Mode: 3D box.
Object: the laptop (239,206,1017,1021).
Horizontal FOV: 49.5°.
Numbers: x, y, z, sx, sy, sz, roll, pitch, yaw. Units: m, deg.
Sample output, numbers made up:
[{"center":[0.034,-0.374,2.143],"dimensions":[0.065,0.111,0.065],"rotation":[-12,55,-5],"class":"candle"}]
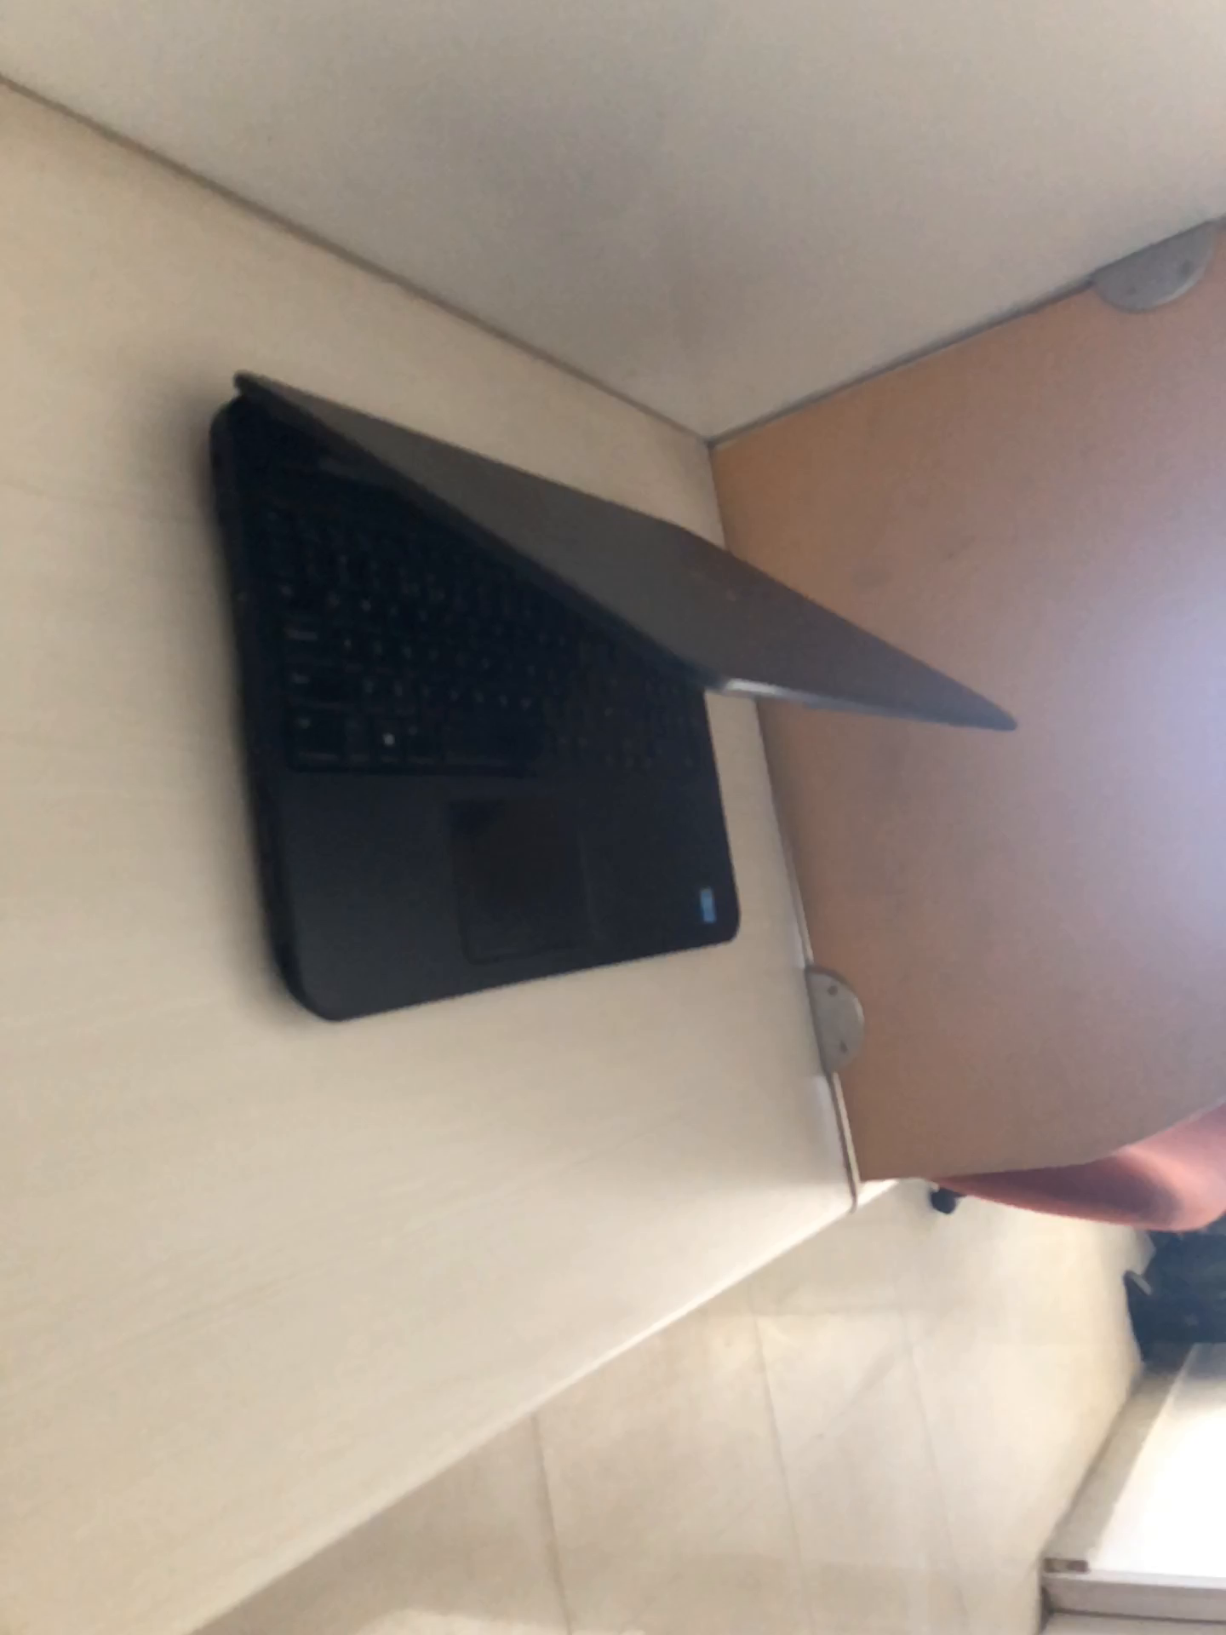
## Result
[{"center":[0.037,-0.066,0.636],"dimensions":[0.366,0.177,0.247],"rotation":[-2,81,-59],"class":"laptop"}]
